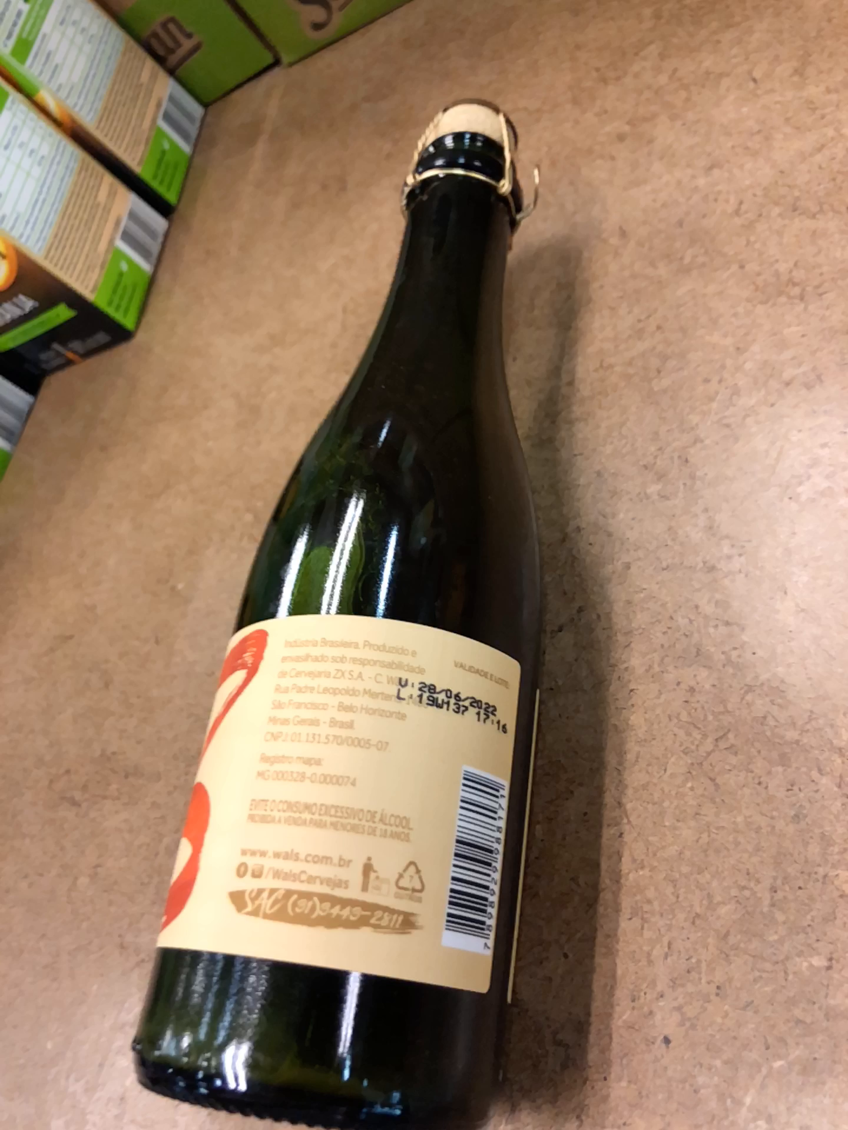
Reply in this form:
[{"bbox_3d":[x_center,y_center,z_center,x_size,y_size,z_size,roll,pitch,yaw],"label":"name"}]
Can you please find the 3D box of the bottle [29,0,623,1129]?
[{"bbox_3d":[-0.005,-0.025,0.217,0.070,0.050,0.271,-9,59,33],"label":"bottle"}]
